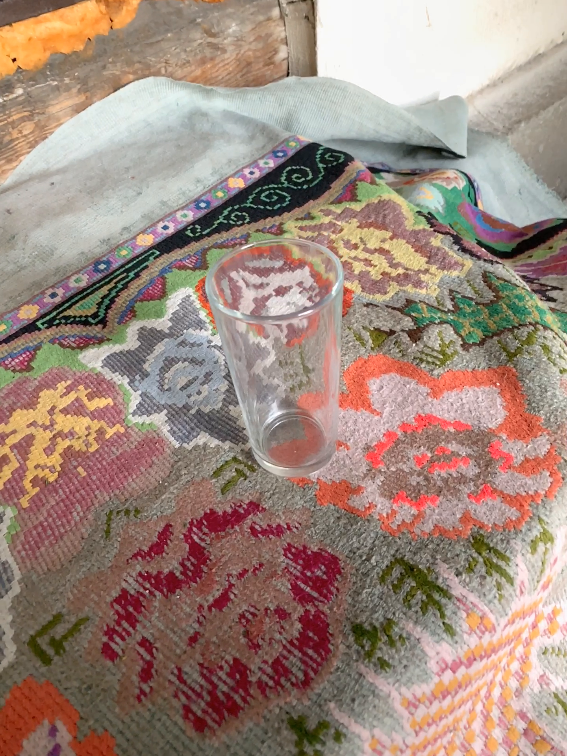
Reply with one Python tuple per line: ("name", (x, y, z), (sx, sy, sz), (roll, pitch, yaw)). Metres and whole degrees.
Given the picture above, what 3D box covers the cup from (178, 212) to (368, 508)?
("cup", (-0.001, -0.005, 0.281), (0.060, 0.119, 0.060), (-4, 45, 4))
